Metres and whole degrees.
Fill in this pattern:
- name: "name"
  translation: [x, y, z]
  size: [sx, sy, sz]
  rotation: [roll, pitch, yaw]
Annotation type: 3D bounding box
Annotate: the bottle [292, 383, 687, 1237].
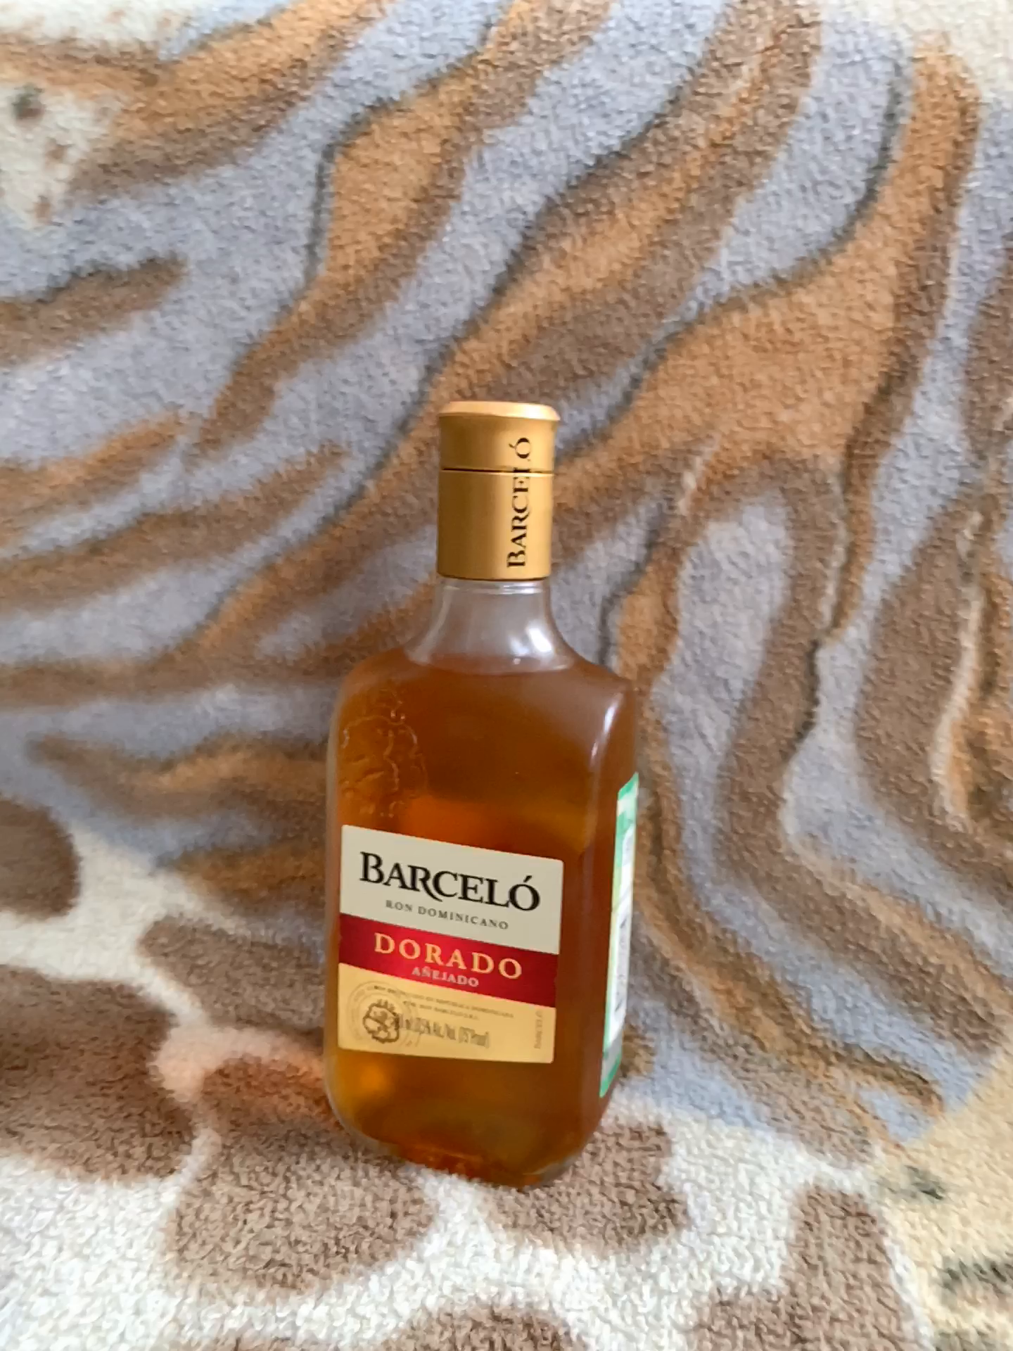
- name: "bottle"
  translation: [-0.003, 0.031, 0.306]
  size: [0.090, 0.219, 0.070]
  rotation: [5, 11, 16]
